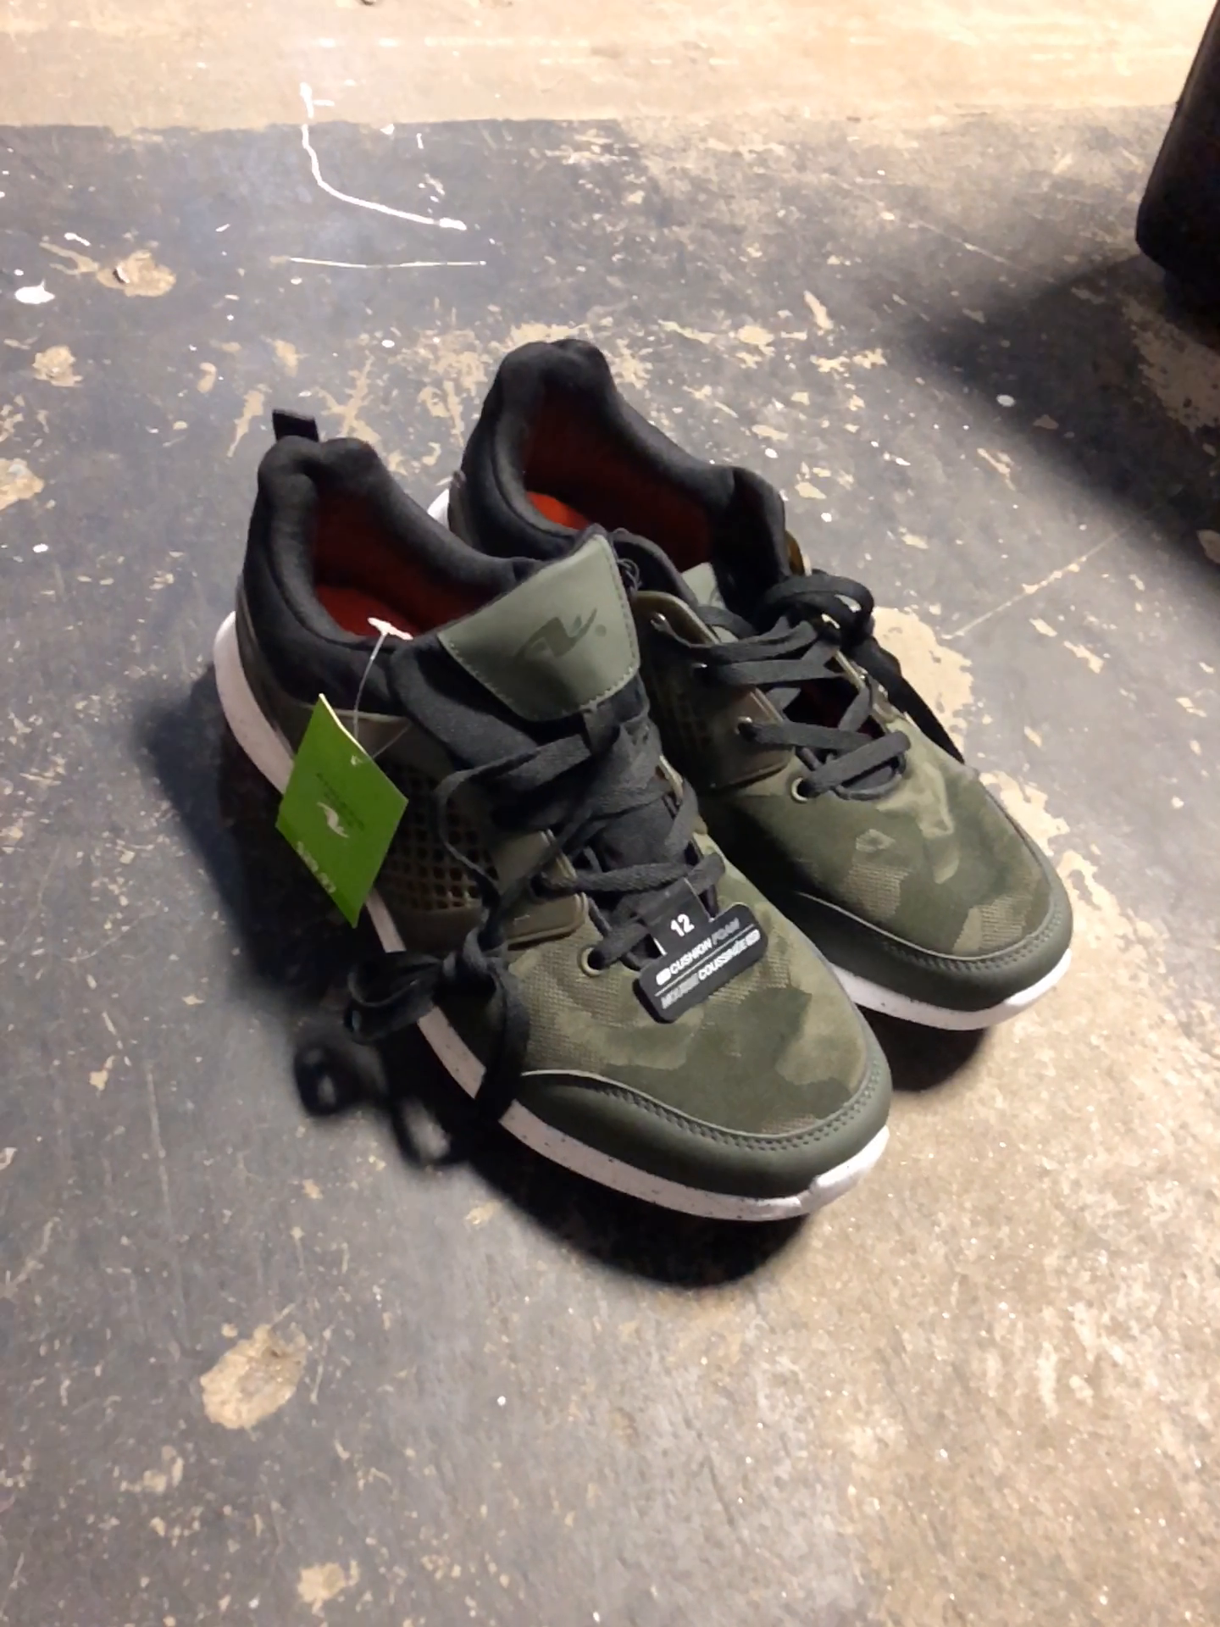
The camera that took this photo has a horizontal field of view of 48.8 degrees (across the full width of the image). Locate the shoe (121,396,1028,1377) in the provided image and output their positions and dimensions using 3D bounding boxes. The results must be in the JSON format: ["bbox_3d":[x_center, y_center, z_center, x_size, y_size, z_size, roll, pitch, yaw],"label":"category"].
[{"bbox_3d":[-0.030,0.011,0.448,0.110,0.119,0.301,-30,64,-28],"label":"shoe"}]

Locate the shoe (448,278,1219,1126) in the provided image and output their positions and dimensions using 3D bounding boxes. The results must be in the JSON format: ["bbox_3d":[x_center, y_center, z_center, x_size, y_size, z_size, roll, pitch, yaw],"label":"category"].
[{"bbox_3d":[0.069,-0.049,0.481,0.110,0.129,0.271,-30,64,-28],"label":"shoe"}]
